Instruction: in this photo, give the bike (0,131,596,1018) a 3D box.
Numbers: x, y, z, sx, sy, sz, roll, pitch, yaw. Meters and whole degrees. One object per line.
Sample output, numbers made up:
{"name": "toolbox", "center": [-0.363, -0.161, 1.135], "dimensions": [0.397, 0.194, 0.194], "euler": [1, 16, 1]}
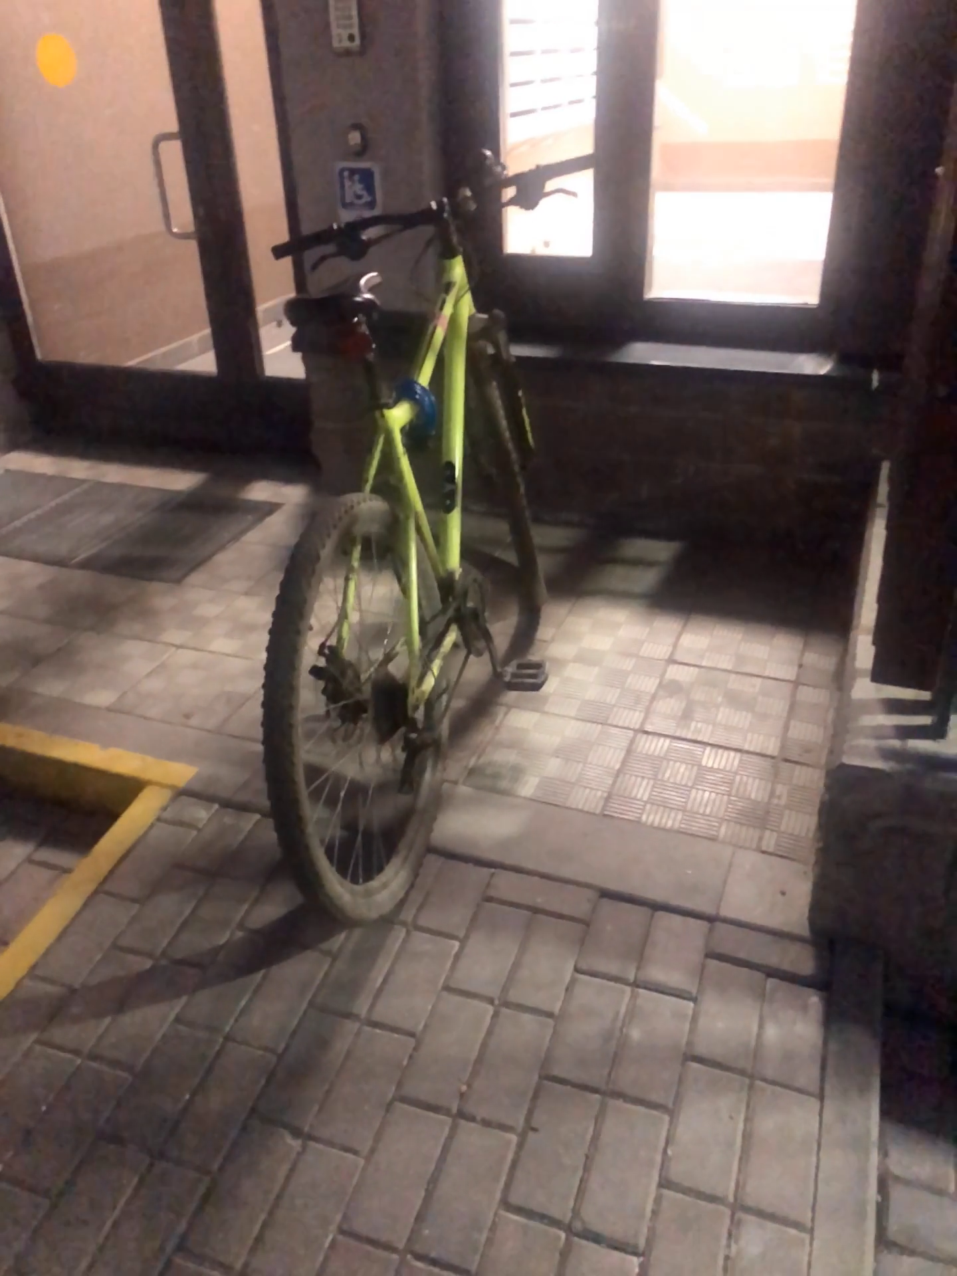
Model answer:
{"name": "bike", "center": [-0.192, -0.366, 2.181], "dimensions": [0.720, 1.095, 1.767], "euler": [4, 30, 10]}
